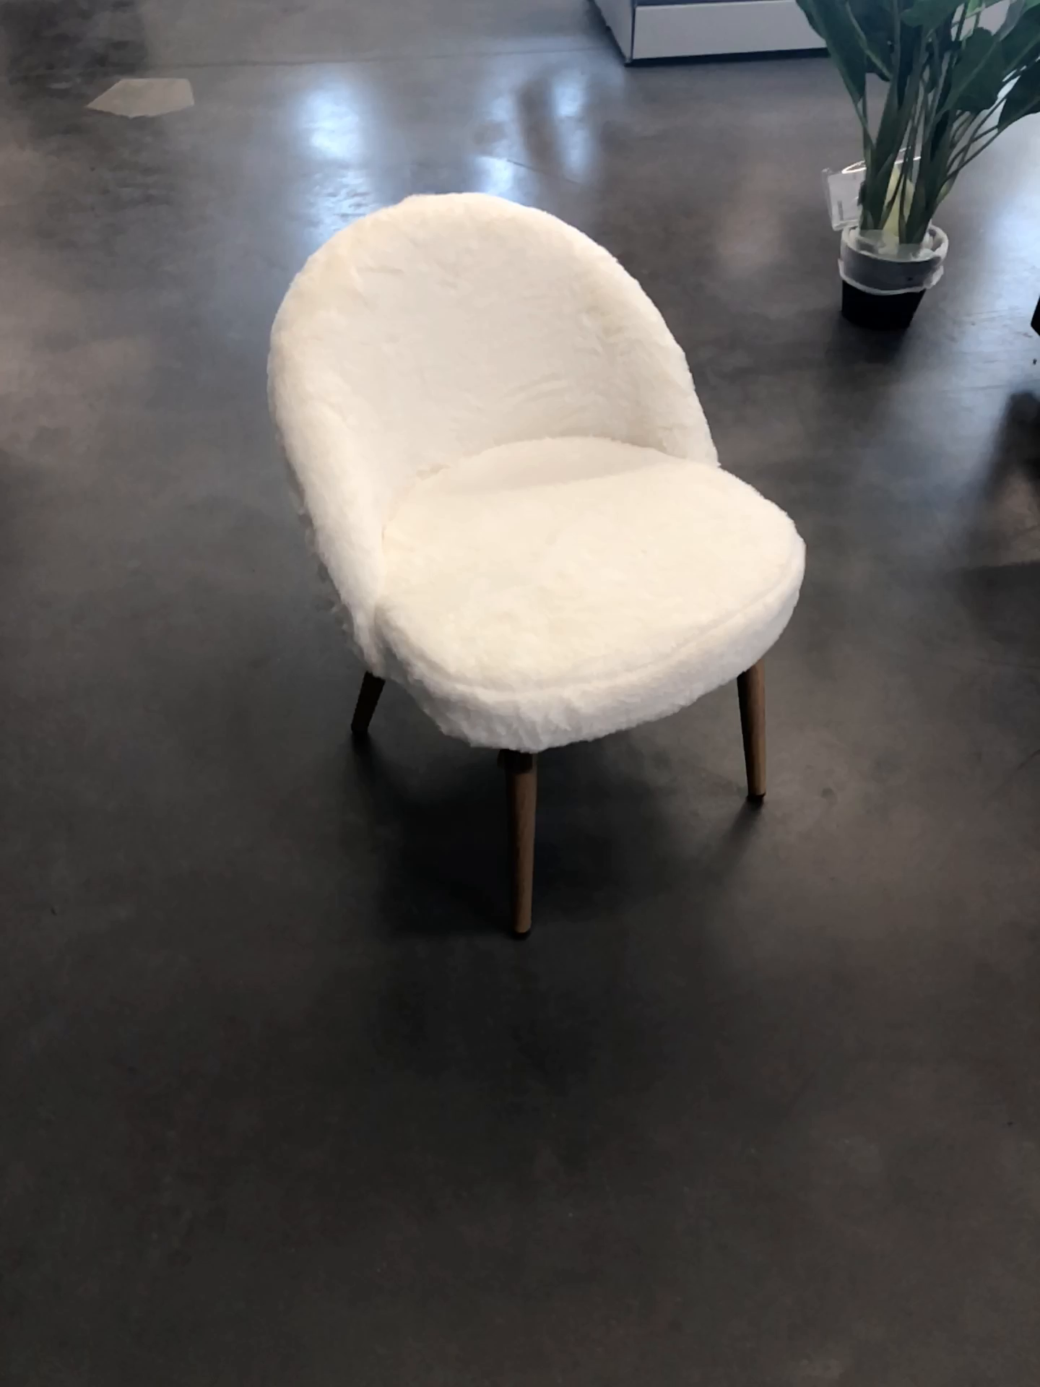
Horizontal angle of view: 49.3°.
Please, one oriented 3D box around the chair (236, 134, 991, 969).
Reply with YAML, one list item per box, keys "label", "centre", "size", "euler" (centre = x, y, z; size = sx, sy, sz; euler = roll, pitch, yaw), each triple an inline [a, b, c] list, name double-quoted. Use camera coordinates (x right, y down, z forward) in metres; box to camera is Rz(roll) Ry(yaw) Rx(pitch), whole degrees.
- label: "chair"
  centre: [0.049, -0.152, 1.090]
  size: [0.411, 0.537, 0.471]
  euler: [-22, 48, -22]
